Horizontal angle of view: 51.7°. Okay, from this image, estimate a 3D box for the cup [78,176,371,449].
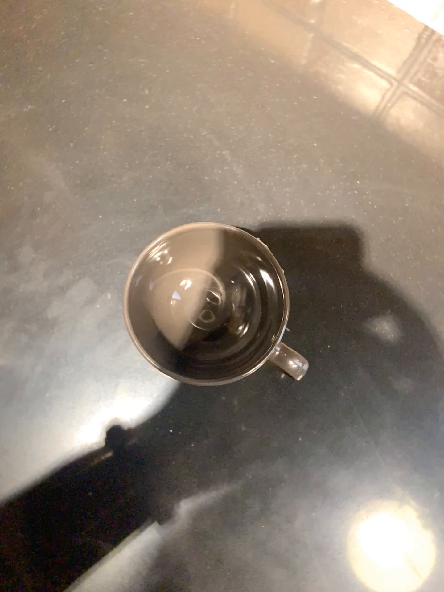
[{"bbox_3d":[0.002,0.011,0.306,0.140,0.060,0.110,30,82,5],"label":"cup"}]
